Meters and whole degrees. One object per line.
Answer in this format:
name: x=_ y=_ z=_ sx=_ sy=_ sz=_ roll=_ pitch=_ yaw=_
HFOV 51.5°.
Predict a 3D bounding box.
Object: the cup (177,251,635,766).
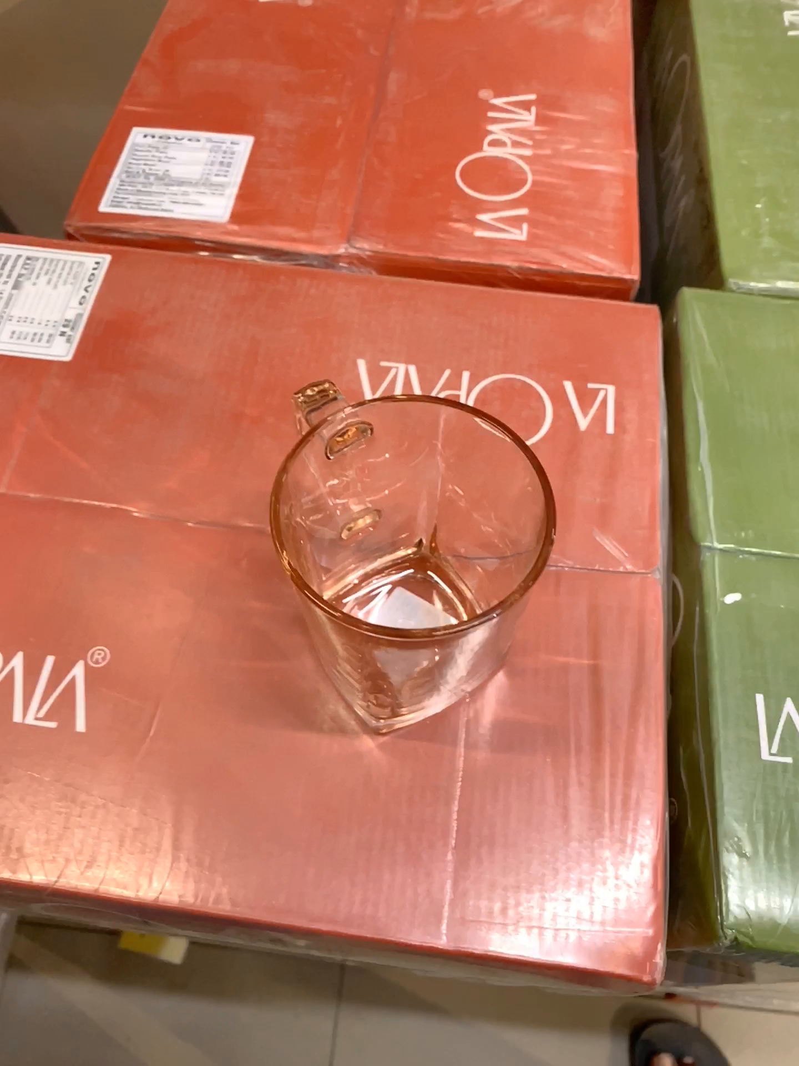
cup: x=-0.002 y=-0.003 z=0.266 sx=0.080 sy=0.110 sz=0.100 roll=-28 pitch=65 yaw=-15
